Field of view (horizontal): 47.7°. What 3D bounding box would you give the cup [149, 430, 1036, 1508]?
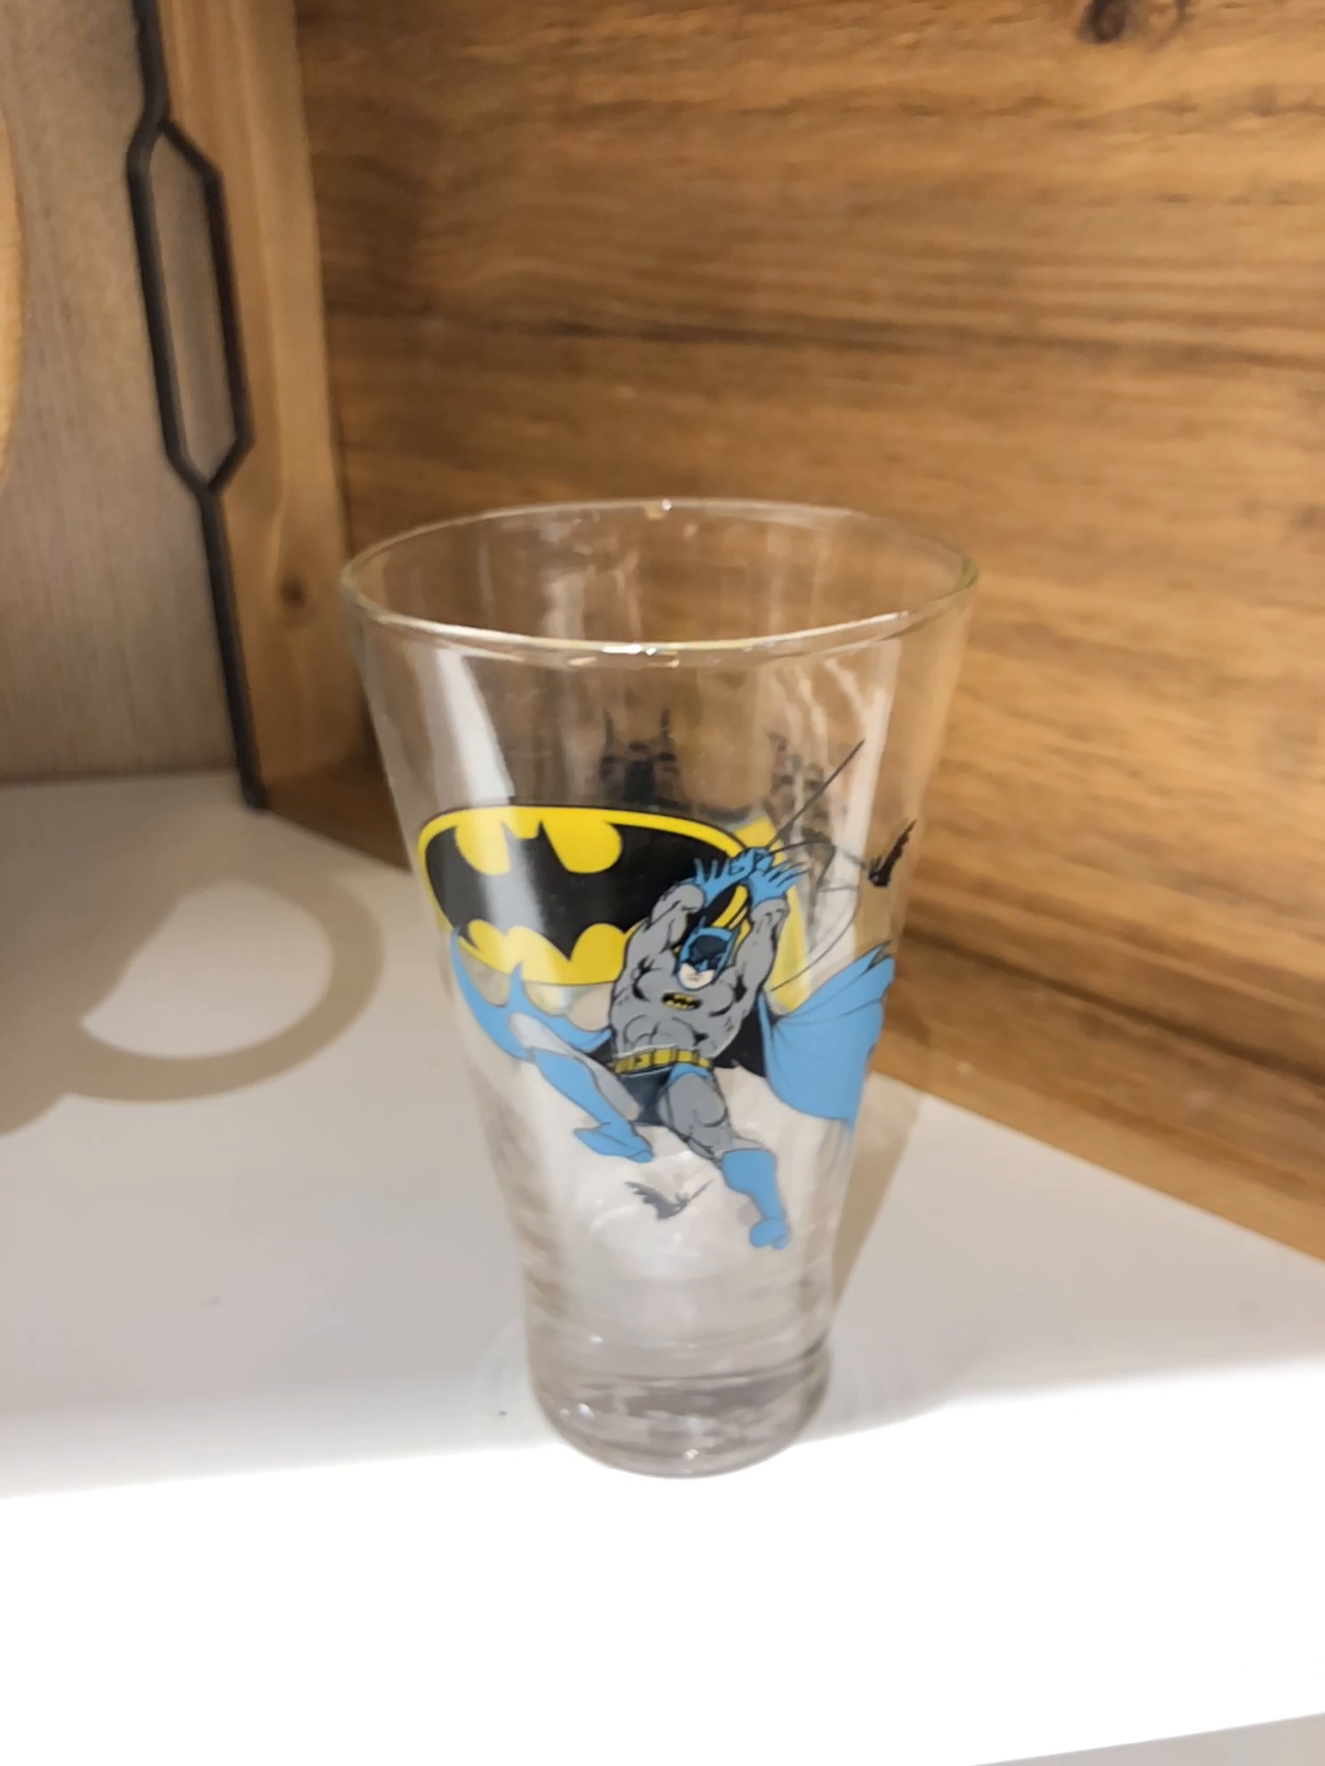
[{"bbox_3d":[-0.005,0.009,0.215,0.090,0.129,0.081,0,25,3],"label":"cup"}]
